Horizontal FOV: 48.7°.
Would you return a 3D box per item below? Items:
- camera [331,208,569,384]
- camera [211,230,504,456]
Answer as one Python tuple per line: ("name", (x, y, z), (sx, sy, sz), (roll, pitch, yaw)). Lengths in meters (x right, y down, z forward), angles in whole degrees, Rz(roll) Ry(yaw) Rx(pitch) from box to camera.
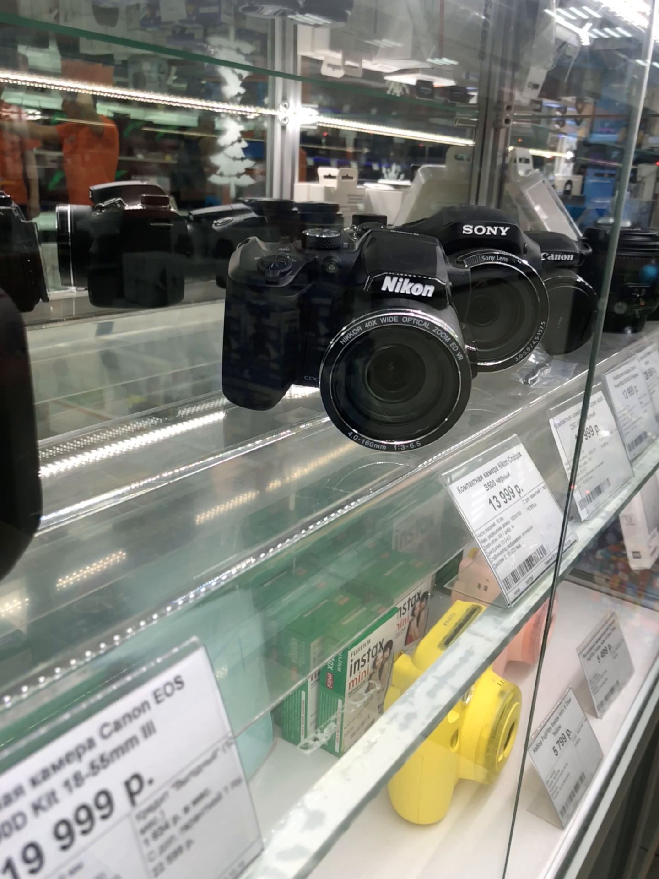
("camera", (0.062, -0.088, 0.431), (0.114, 0.084, 0.099), (0, 21, -4))
("camera", (0.006, -0.048, 0.331), (0.110, 0.080, 0.098), (2, 18, -5))
